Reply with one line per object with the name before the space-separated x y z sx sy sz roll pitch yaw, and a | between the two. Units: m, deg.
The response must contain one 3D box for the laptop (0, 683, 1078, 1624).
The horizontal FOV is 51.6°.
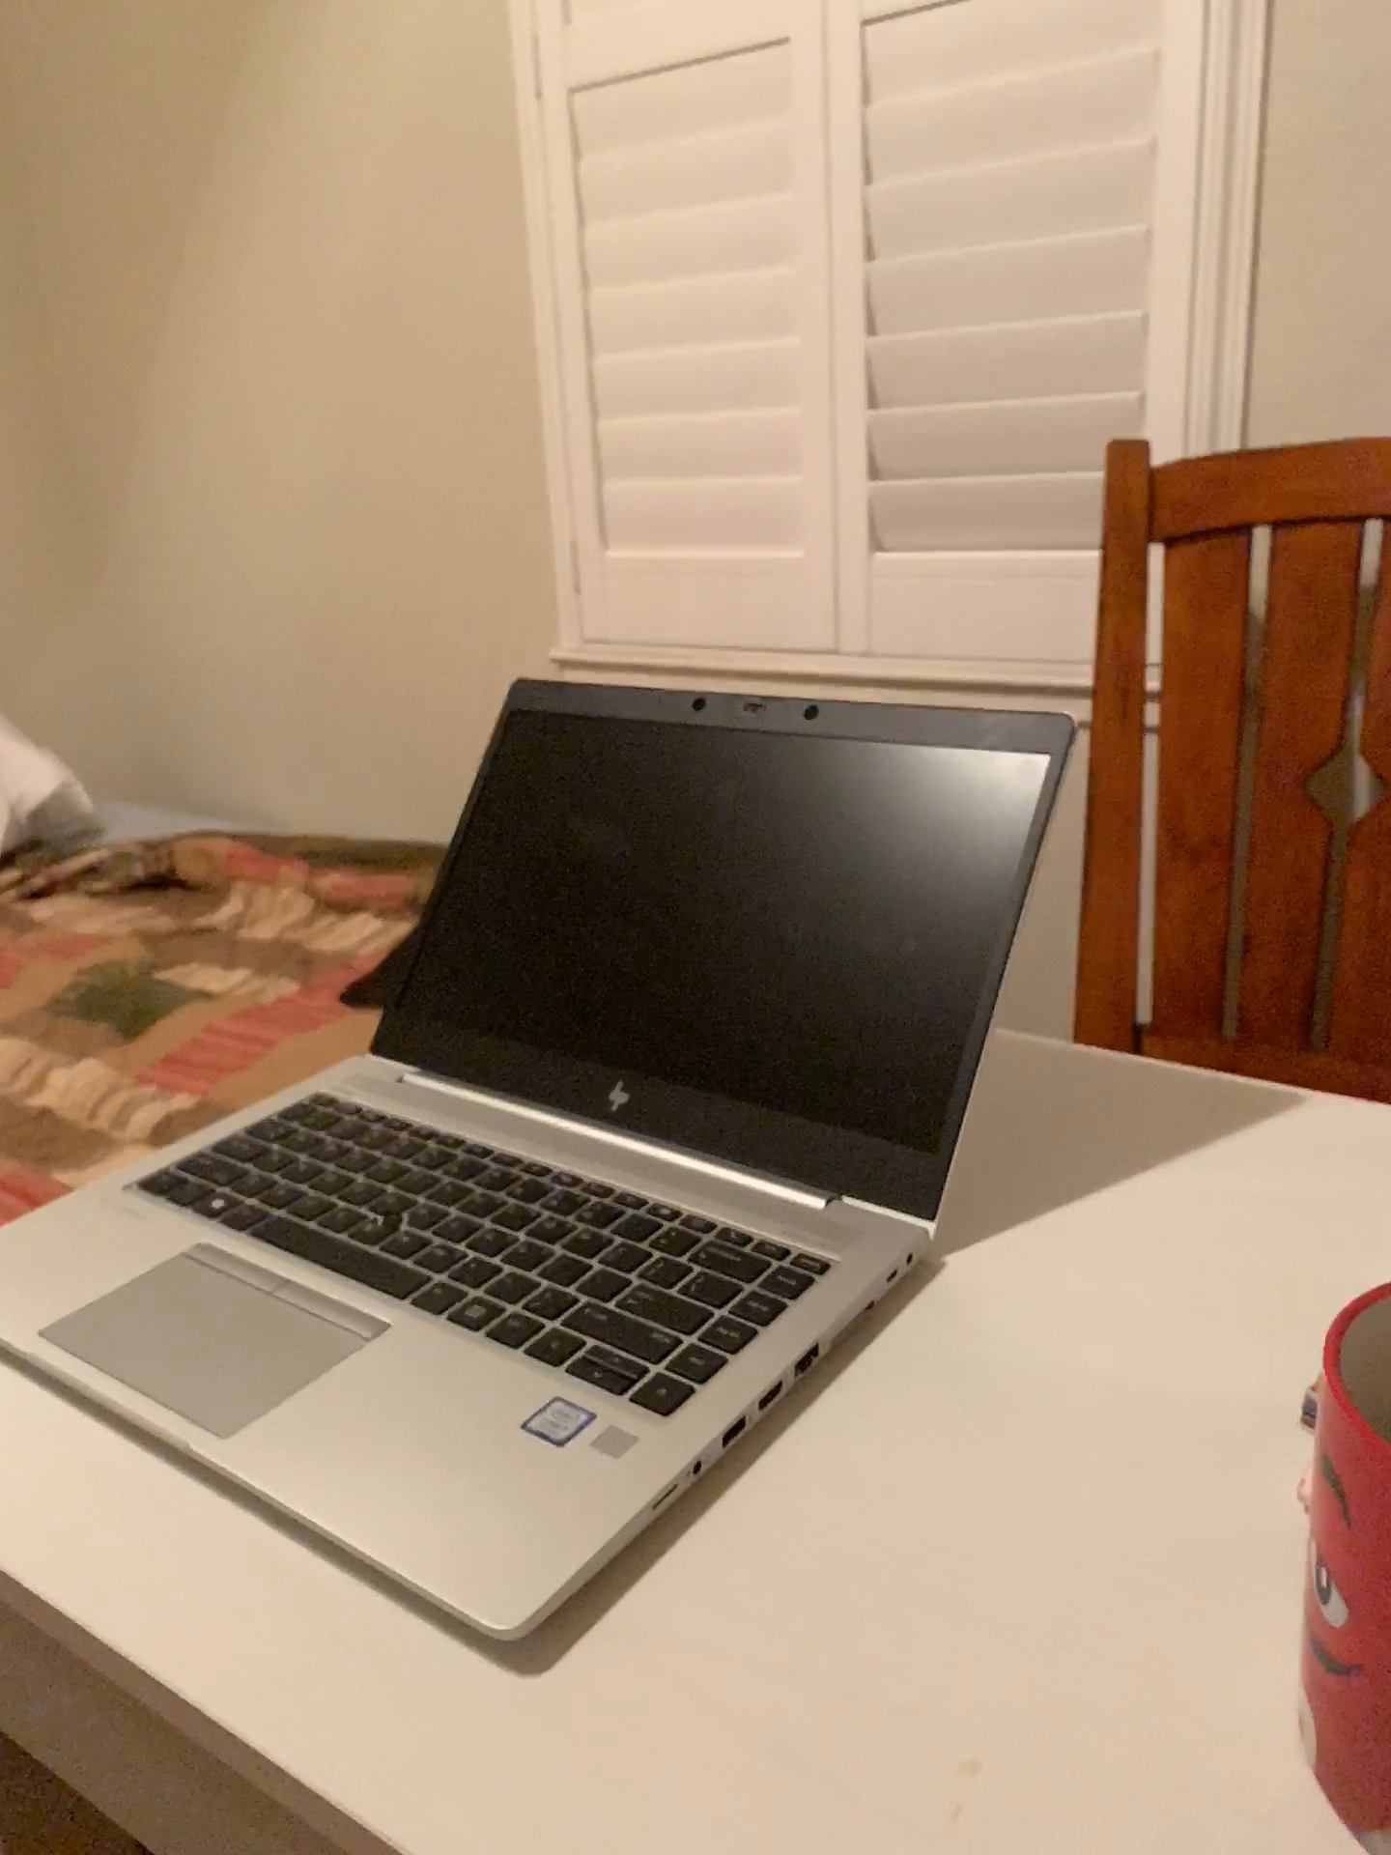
laptop | -0.073 0.023 0.565 0.310 0.159 0.365 10 23 35
